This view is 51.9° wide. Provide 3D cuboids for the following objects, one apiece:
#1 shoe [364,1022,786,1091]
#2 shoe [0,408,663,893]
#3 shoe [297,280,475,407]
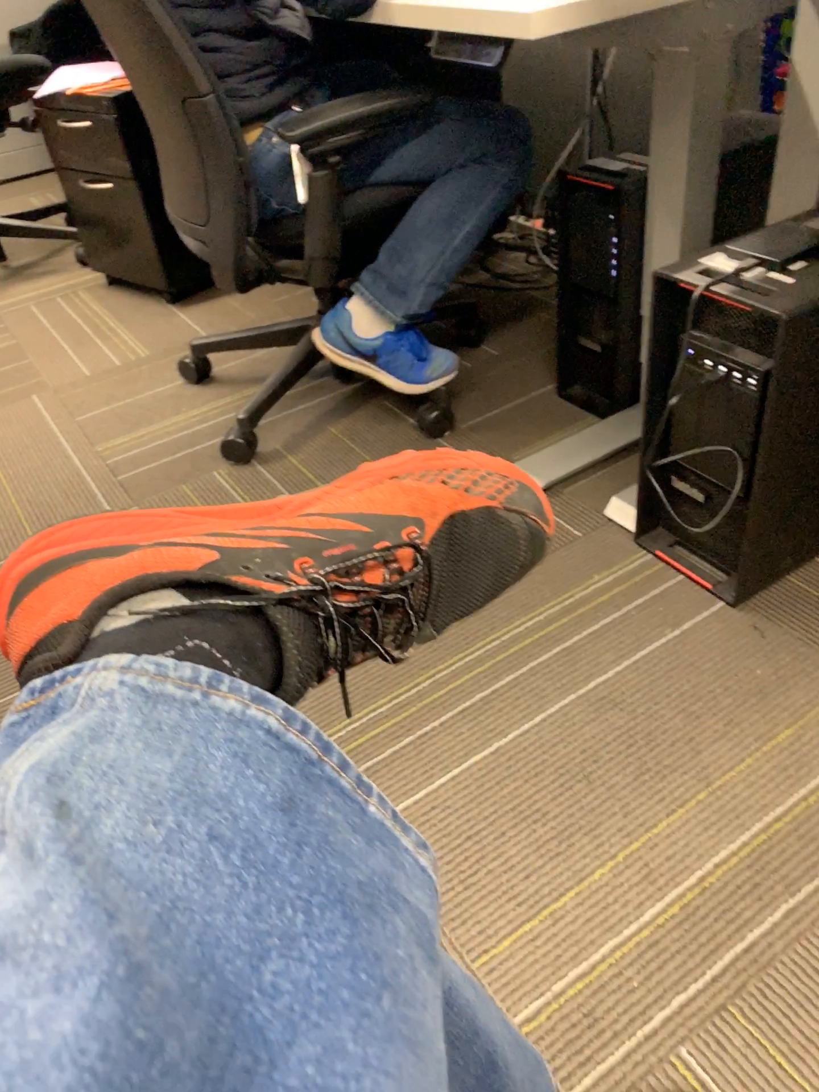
[{"bbox_3d":[0.132,0.522,0.712,0.318,0.067,0.118,-13,43,-7],"label":"shoe"},{"bbox_3d":[-0.049,0.037,0.451,0.321,0.110,0.146,-15,33,-12],"label":"shoe"},{"bbox_3d":[-0.047,-0.397,1.669,0.318,0.115,0.115,13,36,-25],"label":"shoe"}]
